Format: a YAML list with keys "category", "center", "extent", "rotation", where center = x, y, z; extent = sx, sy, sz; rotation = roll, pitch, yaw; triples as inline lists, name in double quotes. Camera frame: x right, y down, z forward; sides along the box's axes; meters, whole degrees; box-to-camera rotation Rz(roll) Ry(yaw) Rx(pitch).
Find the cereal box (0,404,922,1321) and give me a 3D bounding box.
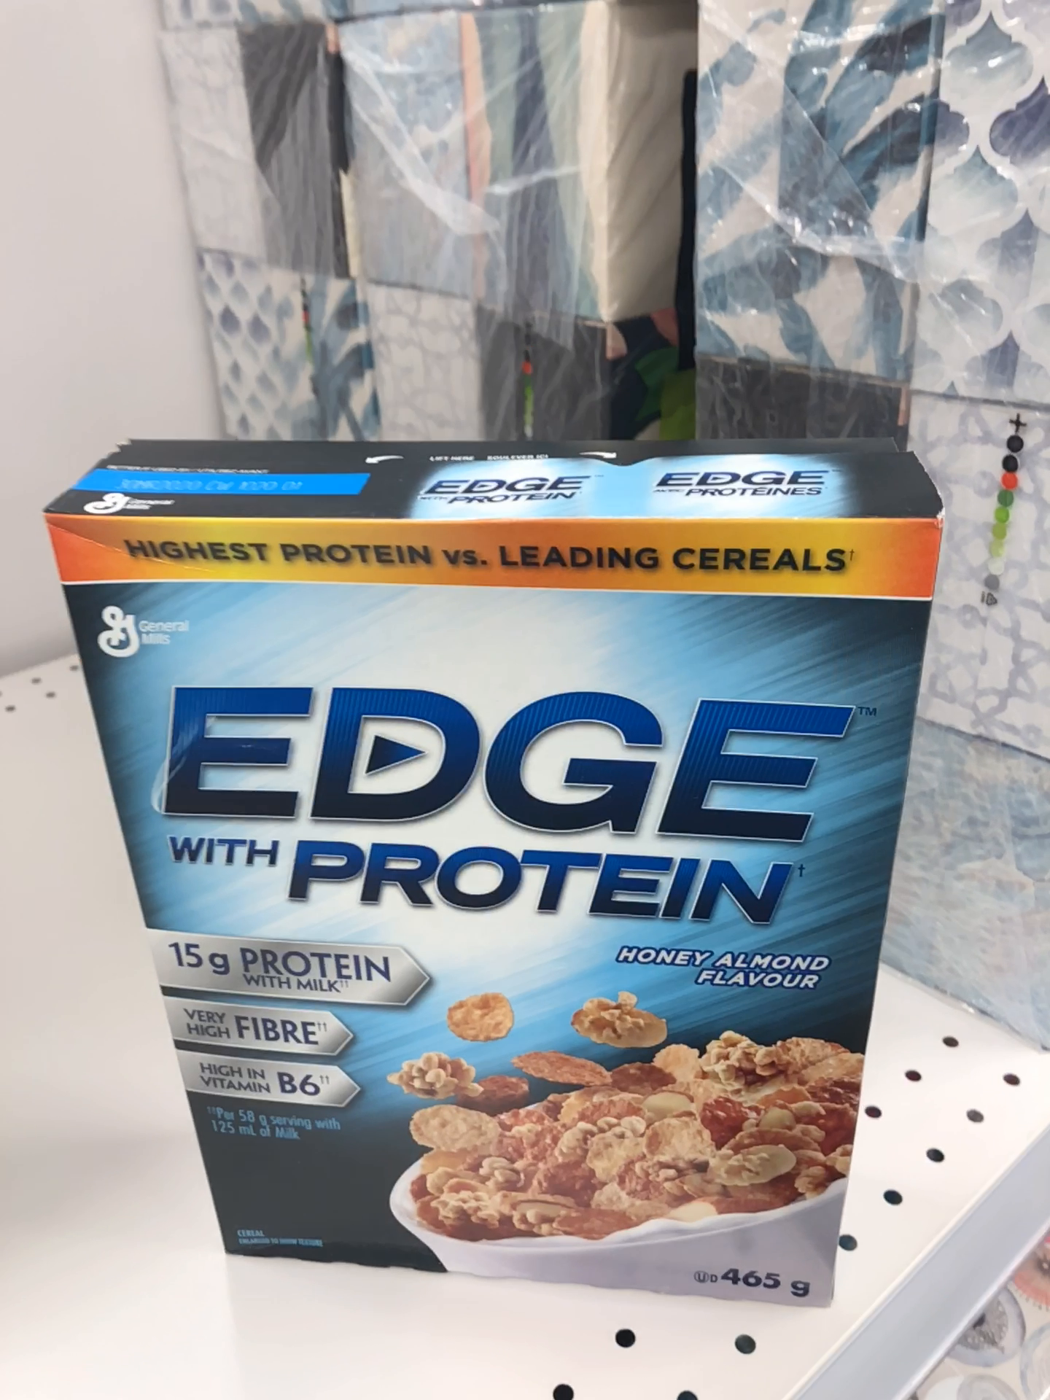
- category: "cereal box"
  center: [-0.010, 0.062, 0.338]
  extent: [0.200, 0.279, 0.050]
  rotation: [1, 29, 7]
